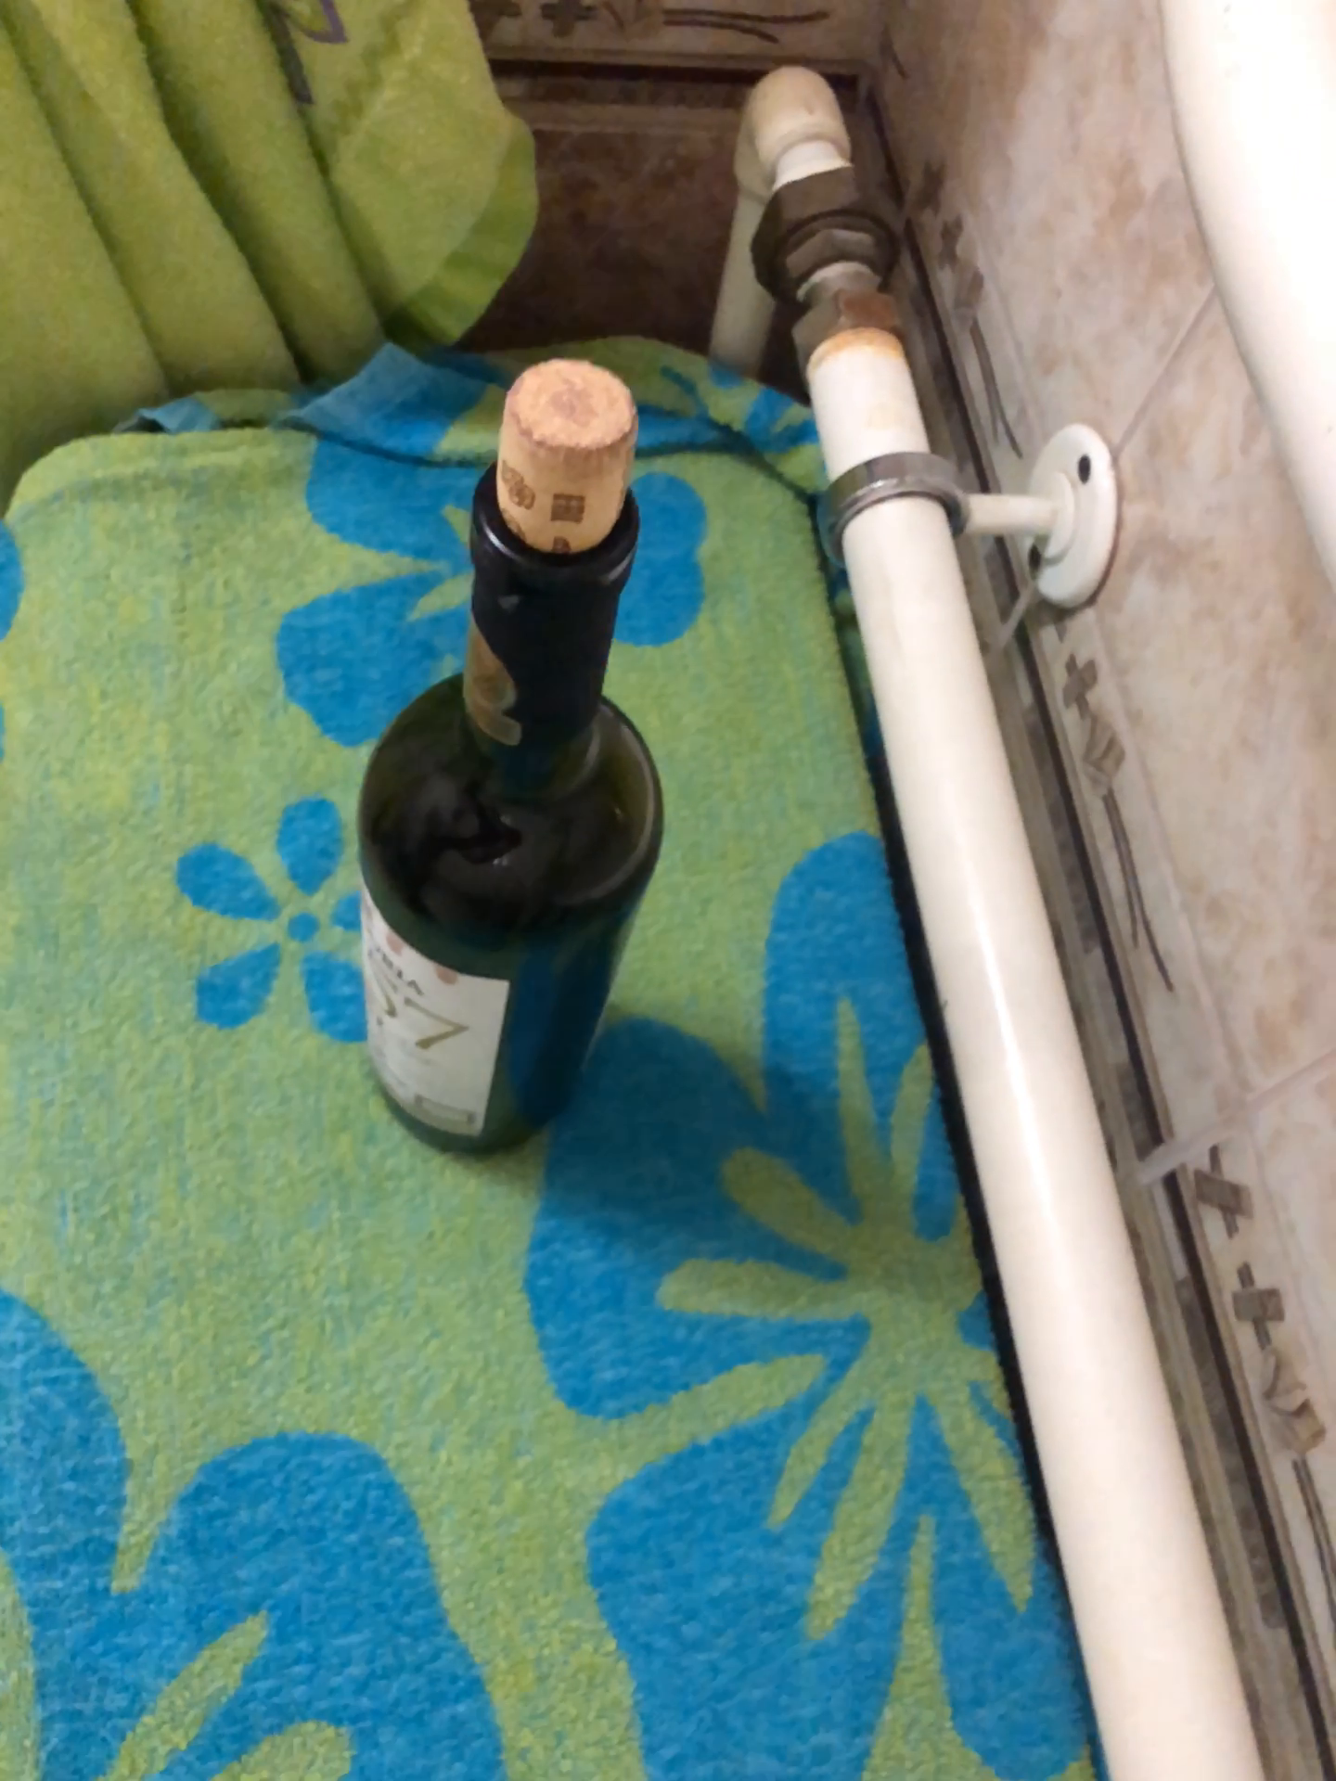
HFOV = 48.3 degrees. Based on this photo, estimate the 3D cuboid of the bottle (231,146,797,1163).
[{"bbox_3d":[-0.045,-0.015,0.371,0.080,0.319,0.080,3,64,-7],"label":"bottle"}]
